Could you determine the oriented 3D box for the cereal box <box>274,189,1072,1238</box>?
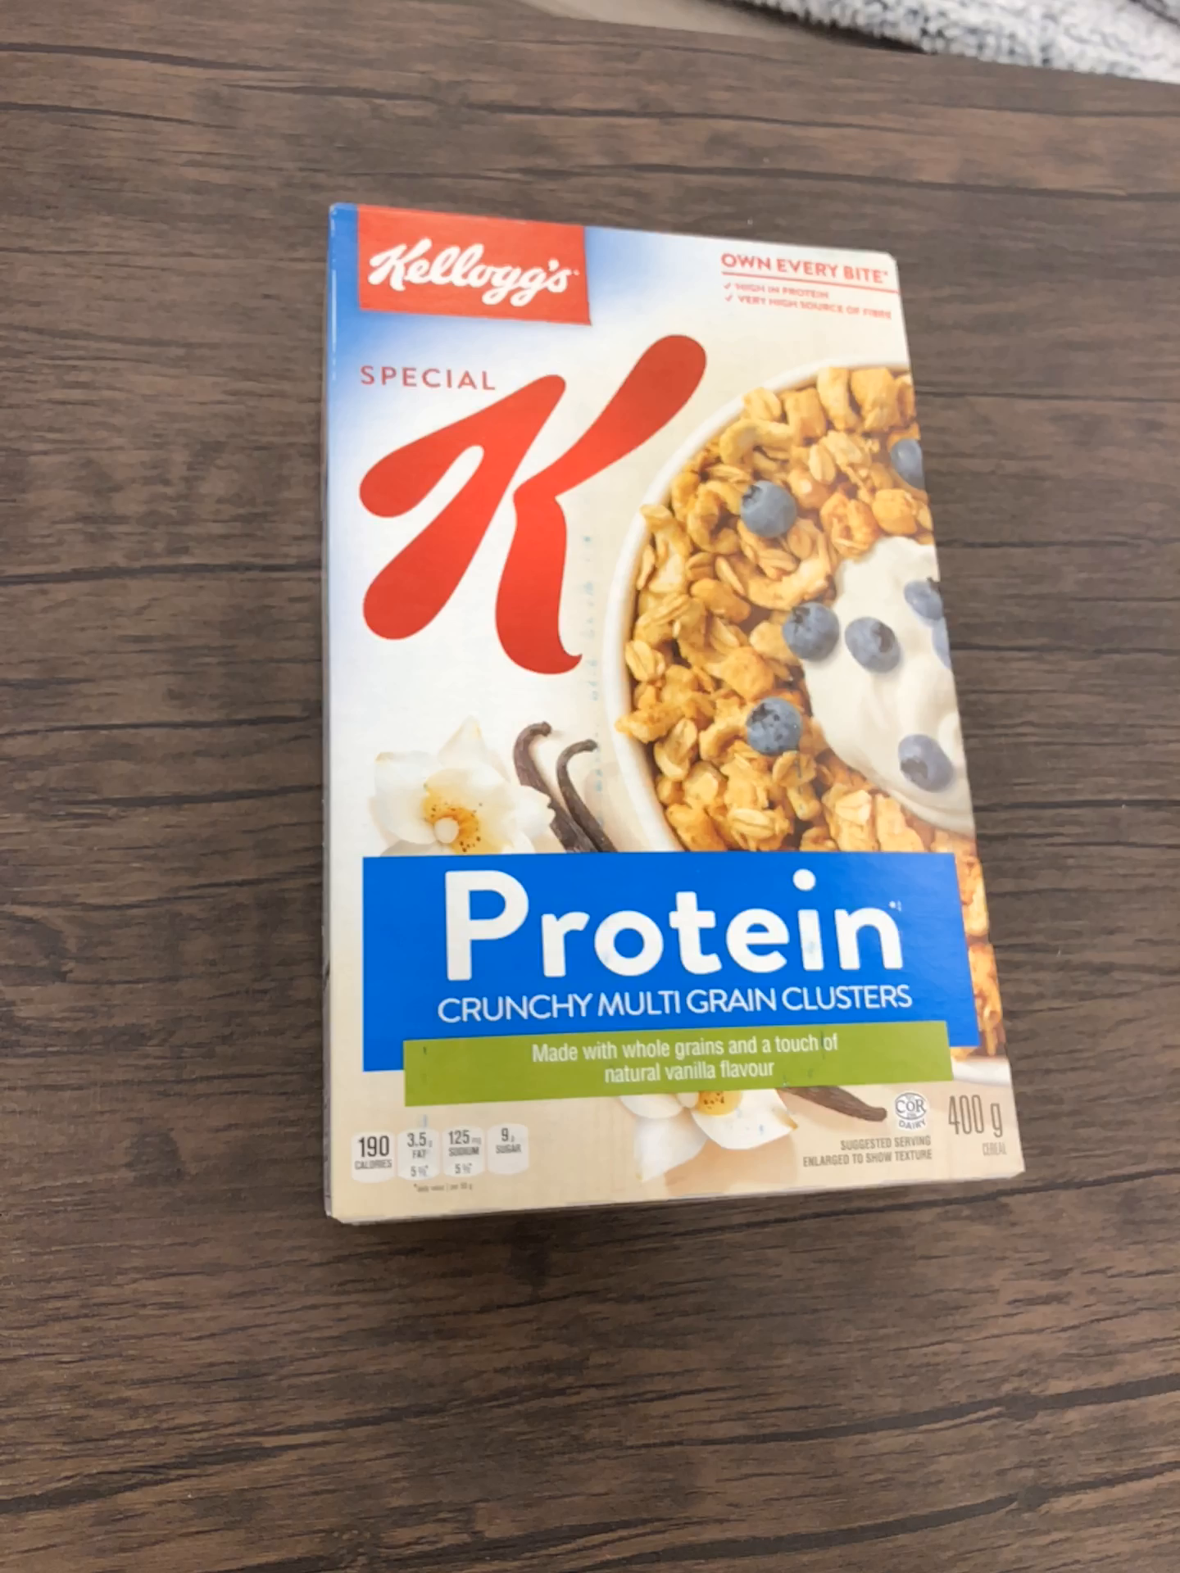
[{"bbox_3d":[0.011,-0.025,0.349,0.180,0.050,0.260,0,73,-12],"label":"cereal box"}]
